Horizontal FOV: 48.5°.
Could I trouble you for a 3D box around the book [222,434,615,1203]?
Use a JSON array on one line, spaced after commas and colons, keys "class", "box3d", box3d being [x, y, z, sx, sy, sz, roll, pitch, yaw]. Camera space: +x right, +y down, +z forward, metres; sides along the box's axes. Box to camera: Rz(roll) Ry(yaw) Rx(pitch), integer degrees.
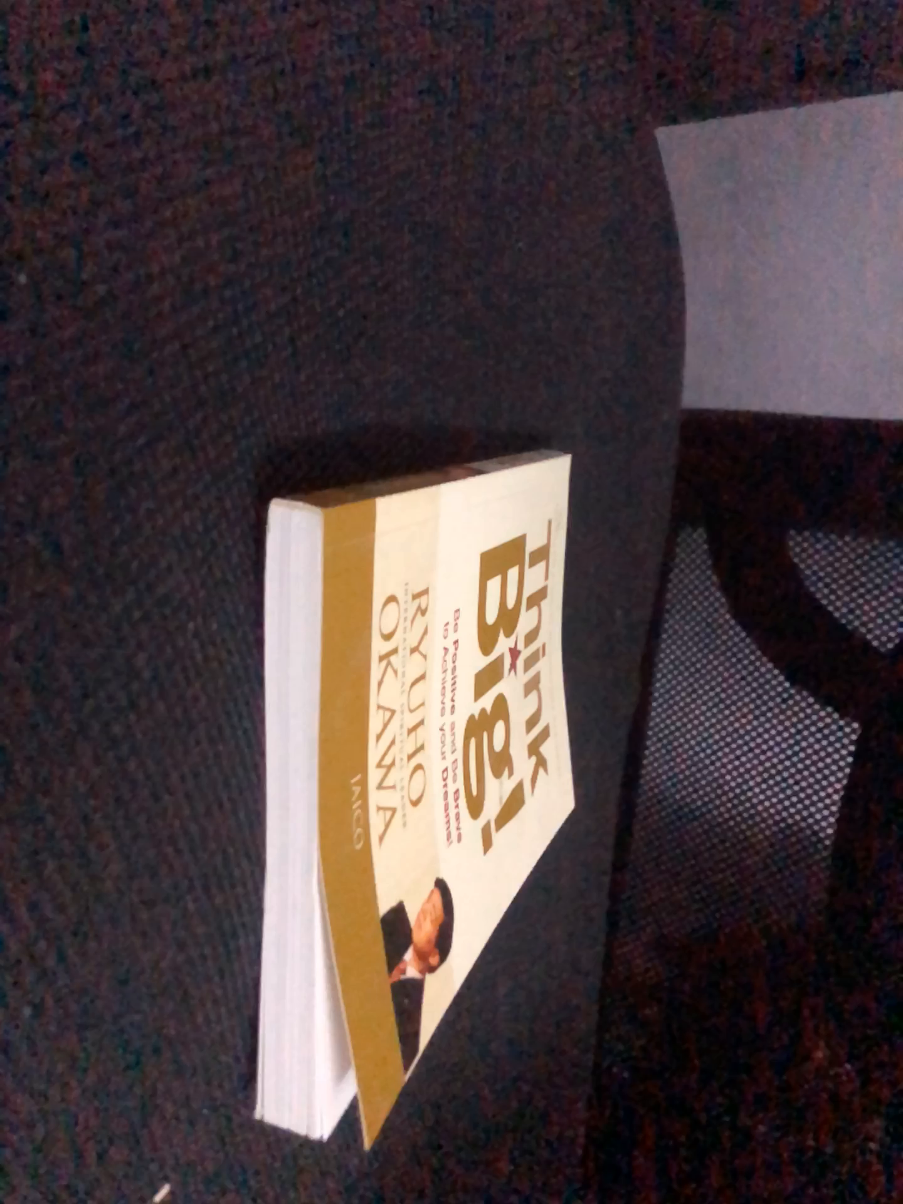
[{"class": "book", "box3d": [0.009, 0.029, 0.269, 0.191, 0.026, 0.137, -29, 120, -65]}]
